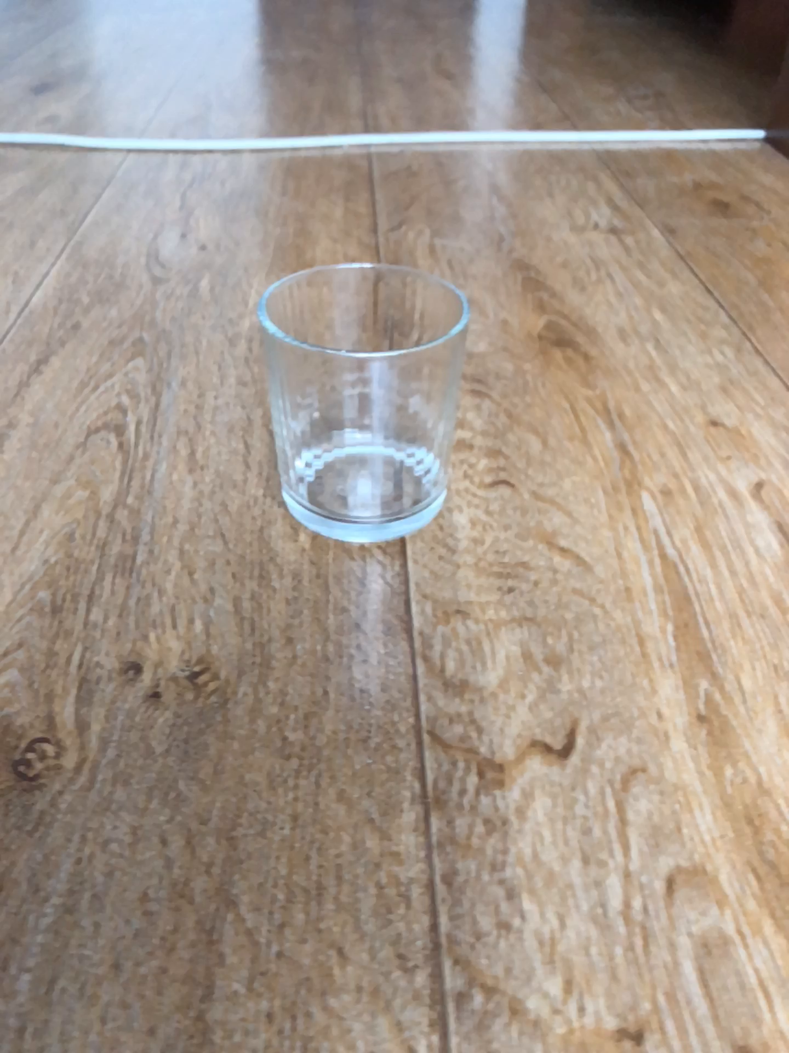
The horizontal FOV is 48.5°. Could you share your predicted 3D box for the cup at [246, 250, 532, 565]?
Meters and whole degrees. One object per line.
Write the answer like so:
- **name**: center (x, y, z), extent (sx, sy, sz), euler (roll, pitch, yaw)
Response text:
- **cup**: center (-0.005, -0.048, 0.332), extent (0.078, 0.079, 0.076), euler (1, 38, -1)
